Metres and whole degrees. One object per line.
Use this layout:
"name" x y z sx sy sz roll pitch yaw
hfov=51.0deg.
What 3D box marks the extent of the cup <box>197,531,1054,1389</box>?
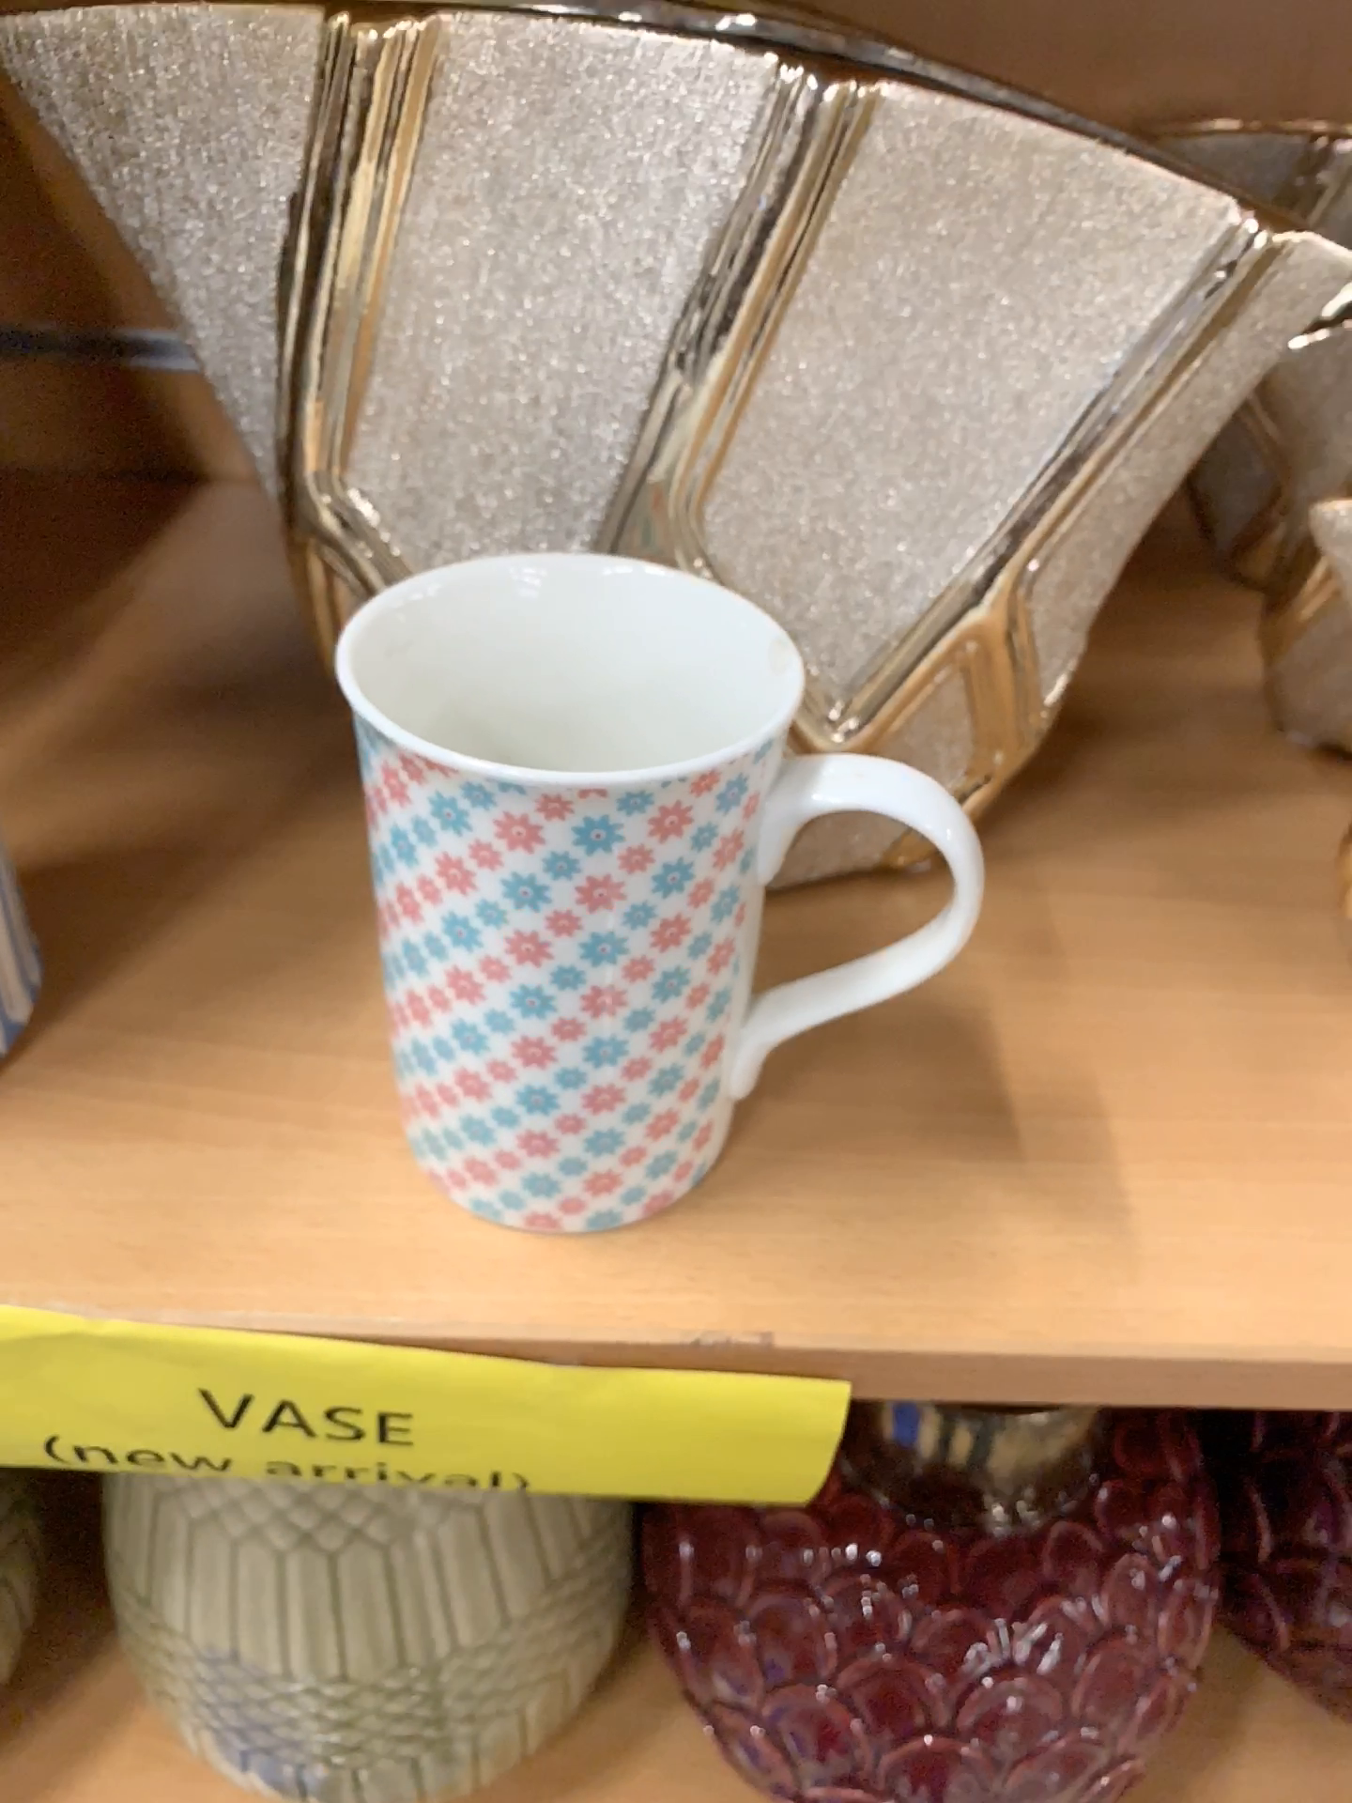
"cup" -0.004 0.008 0.258 0.120 0.110 0.080 10 36 9
